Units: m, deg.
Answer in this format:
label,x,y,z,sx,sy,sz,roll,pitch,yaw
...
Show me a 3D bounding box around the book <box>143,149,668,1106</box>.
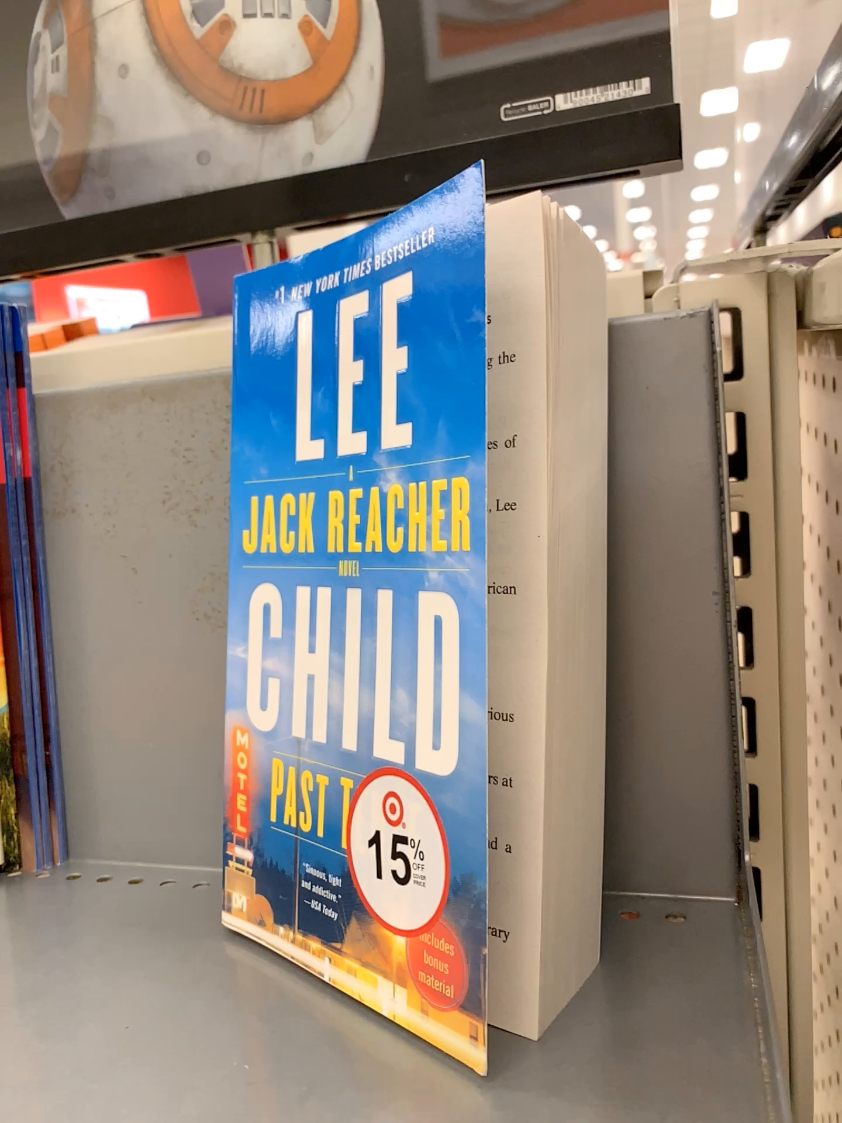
label,x,y,z,sx,sy,sz,roll,pitch,yaw
book,-0.001,0.012,0.244,0.110,0.197,0.080,1,-4,30
